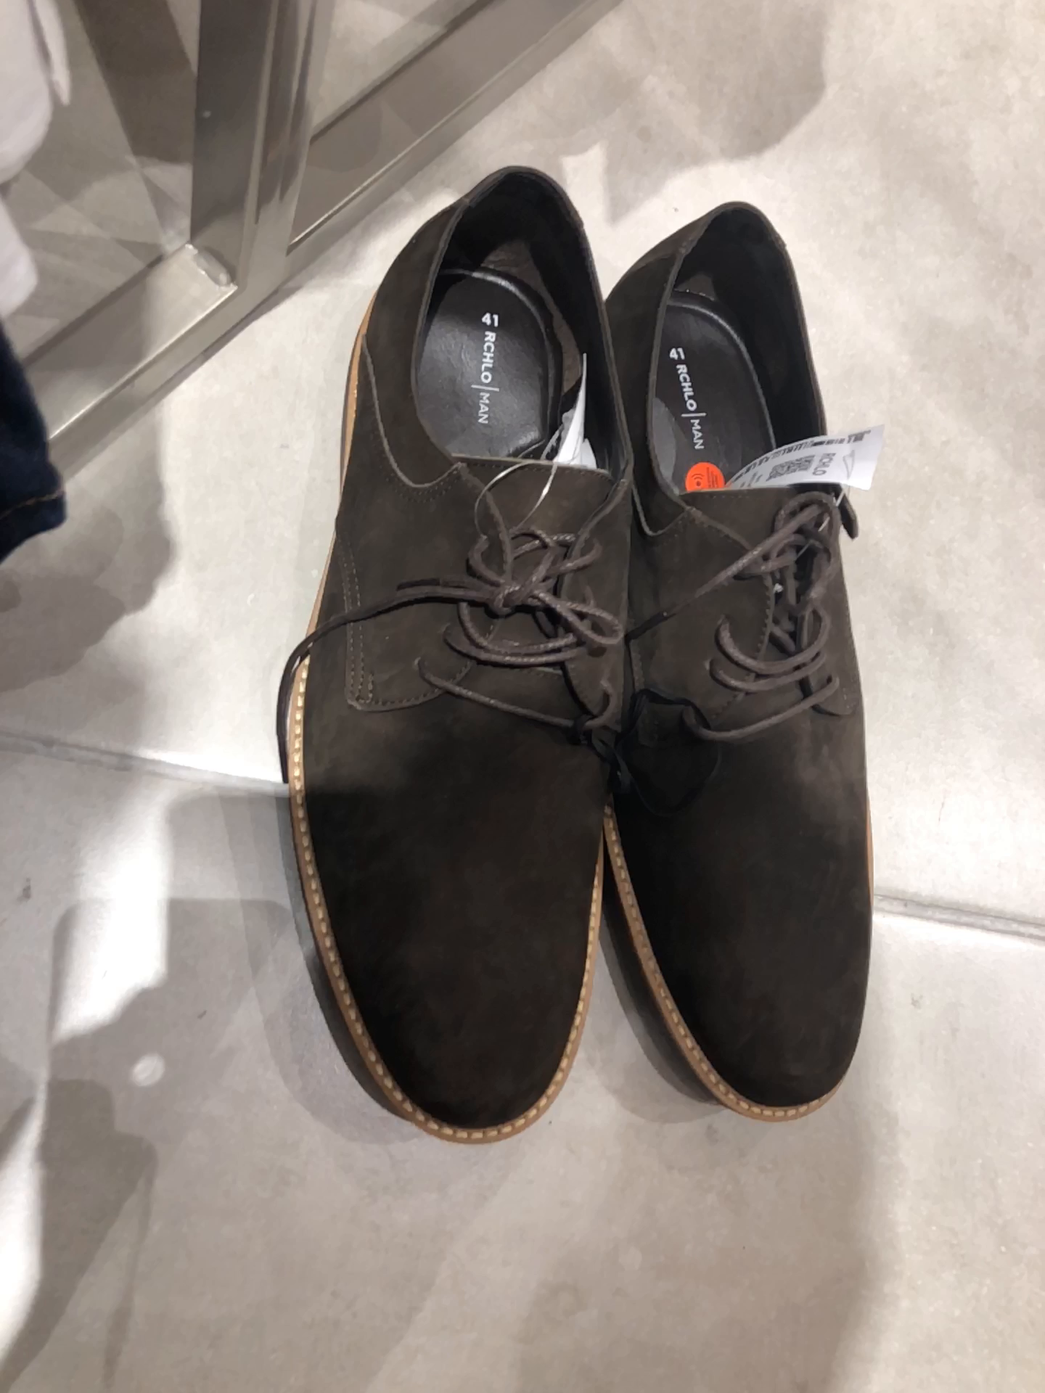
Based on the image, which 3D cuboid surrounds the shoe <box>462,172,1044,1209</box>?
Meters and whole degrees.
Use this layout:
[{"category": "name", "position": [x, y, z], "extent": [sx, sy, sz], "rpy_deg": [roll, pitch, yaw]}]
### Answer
[{"category": "shoe", "position": [0.068, -0.006, 0.398], "extent": [0.110, 0.120, 0.300], "rpy_deg": [-6, 80, -17]}]

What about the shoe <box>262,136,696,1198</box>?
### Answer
[{"category": "shoe", "position": [-0.026, -0.009, 0.389], "extent": [0.110, 0.120, 0.300], "rpy_deg": [2, 78, -16]}]
